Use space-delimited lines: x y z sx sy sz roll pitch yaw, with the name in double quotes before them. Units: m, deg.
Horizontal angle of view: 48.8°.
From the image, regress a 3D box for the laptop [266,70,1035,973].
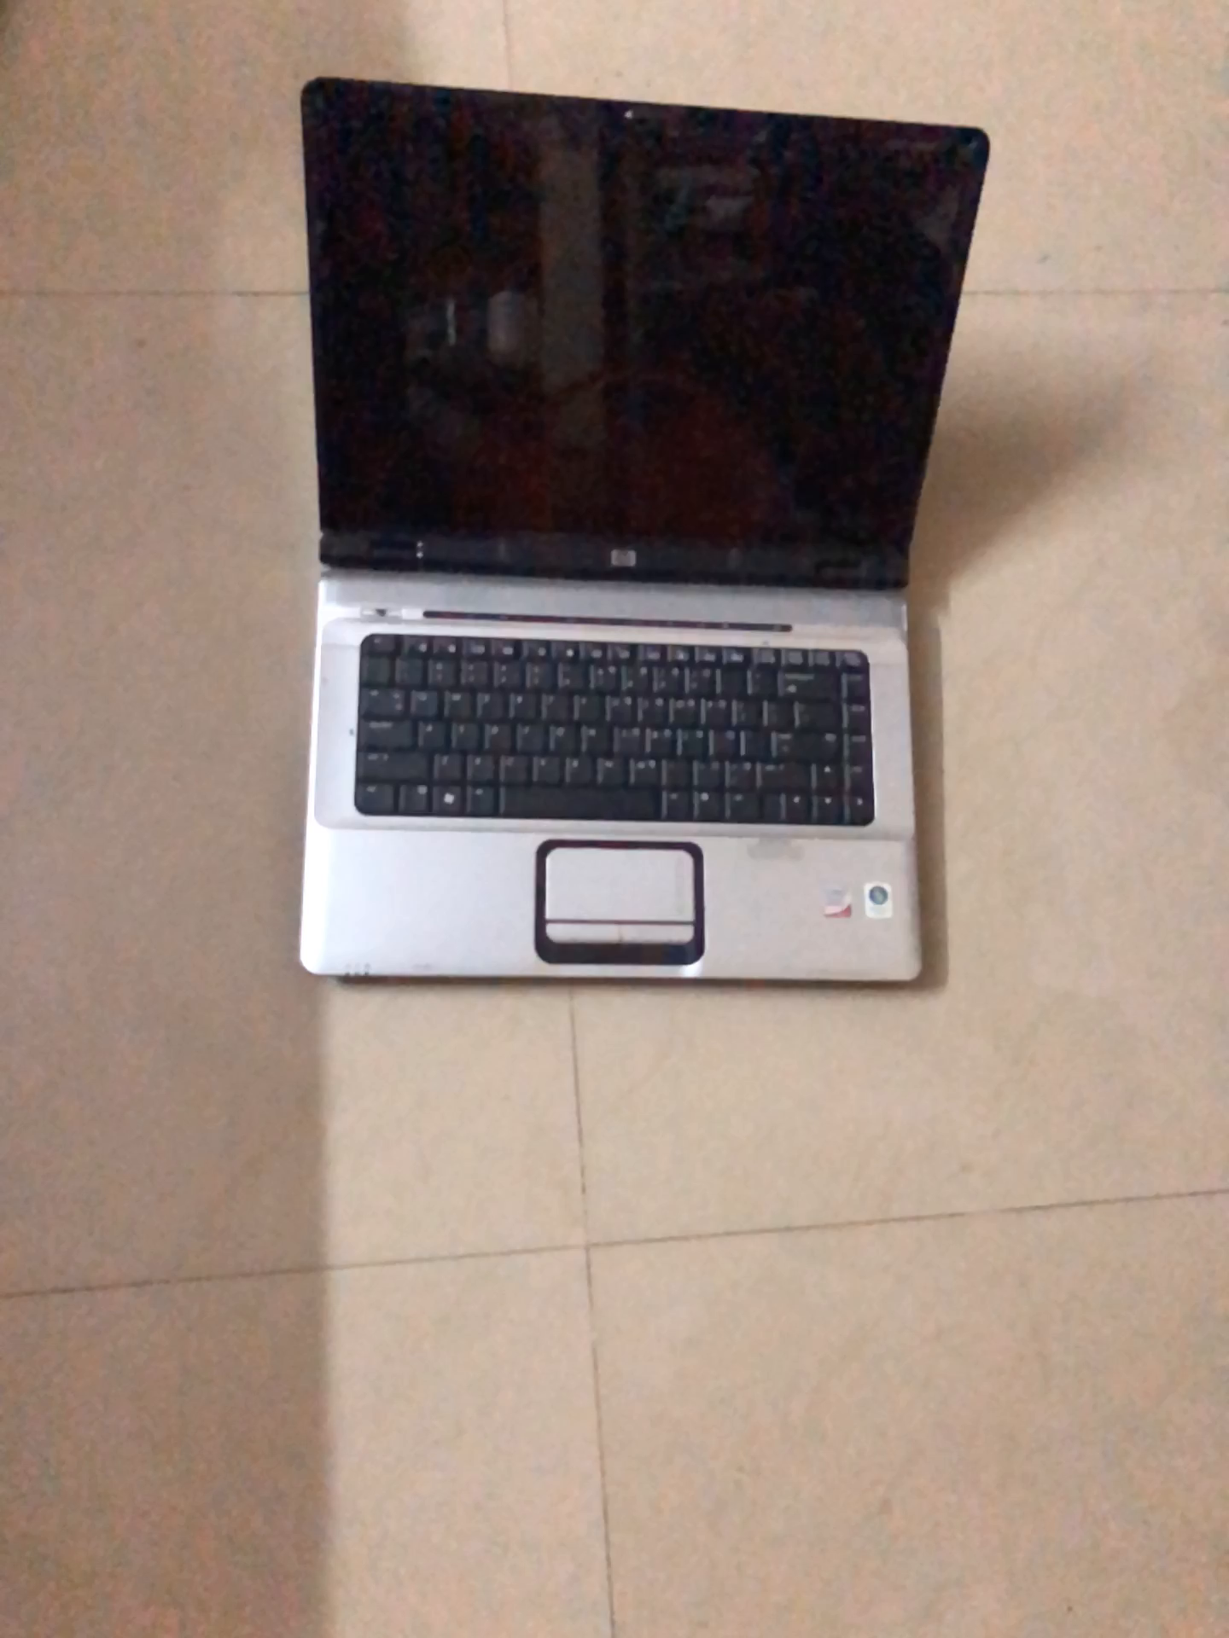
"laptop" 0.014 -0.137 0.710 0.338 0.167 0.409 2 78 -6
